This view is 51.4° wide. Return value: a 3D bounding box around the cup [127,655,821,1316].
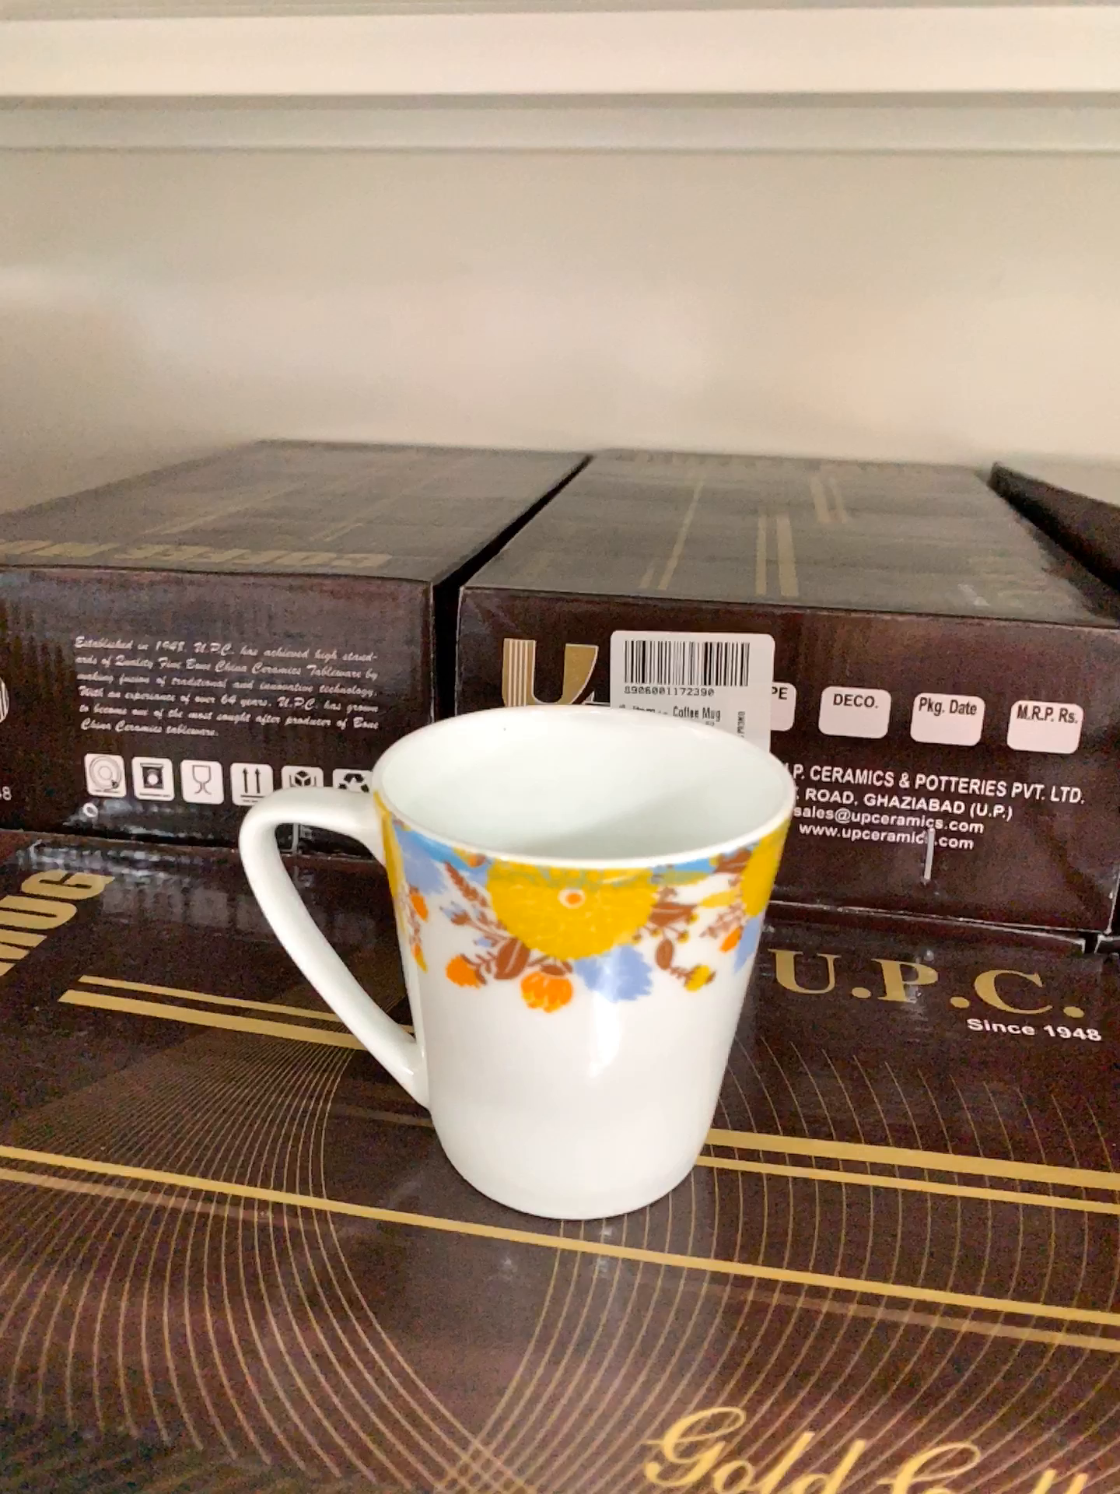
[{"bbox_3d":[-0.008,0.031,0.191,0.090,0.070,0.070,5,20,9],"label":"cup"}]
